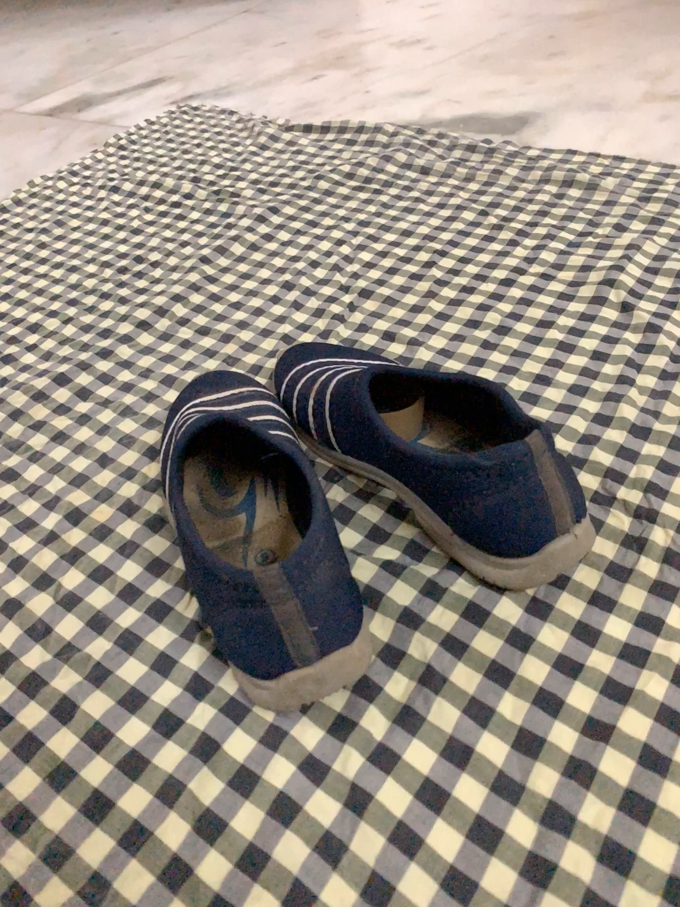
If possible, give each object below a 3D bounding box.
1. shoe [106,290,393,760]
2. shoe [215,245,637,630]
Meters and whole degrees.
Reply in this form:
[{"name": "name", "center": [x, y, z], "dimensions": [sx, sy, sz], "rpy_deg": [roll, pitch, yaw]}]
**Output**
[{"name": "shoe", "center": [-0.062, 0.019, 0.399], "dimensions": [0.090, 0.099, 0.252], "rpy_deg": [-18, 44, -10]}, {"name": "shoe", "center": [0.034, -0.028, 0.419], "dimensions": [0.090, 0.089, 0.252], "rpy_deg": [-30, 47, -22]}]
